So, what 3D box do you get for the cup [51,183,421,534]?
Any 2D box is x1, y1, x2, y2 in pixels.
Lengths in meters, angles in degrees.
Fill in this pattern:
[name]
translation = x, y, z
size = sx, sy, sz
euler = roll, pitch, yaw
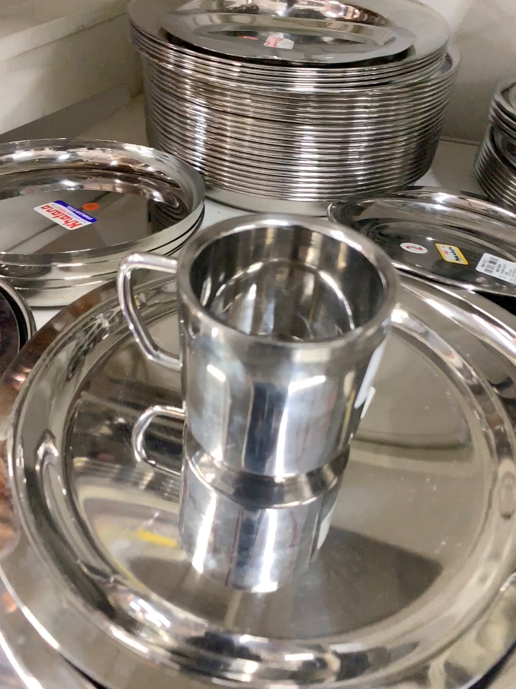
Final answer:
[cup]
translation = -0.002, 0.001, 0.178
size = 0.090, 0.070, 0.070
euler = 14, 43, 11
